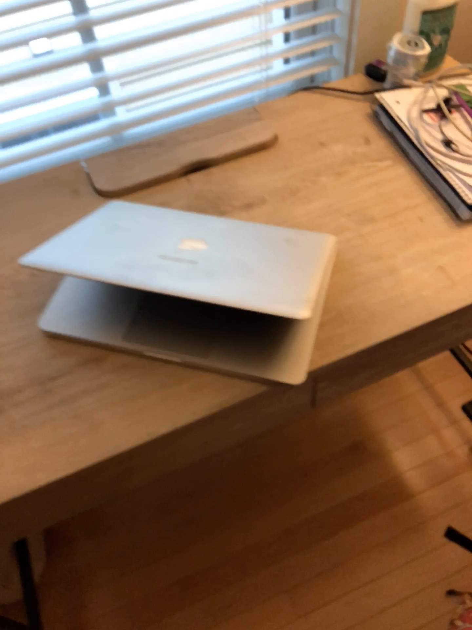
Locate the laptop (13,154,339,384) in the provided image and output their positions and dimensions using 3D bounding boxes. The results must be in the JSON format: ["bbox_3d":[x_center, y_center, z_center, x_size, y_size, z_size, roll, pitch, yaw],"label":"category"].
[{"bbox_3d":[-0.053,-0.065,0.598,0.299,0.082,0.210,11,56,13],"label":"laptop"}]
